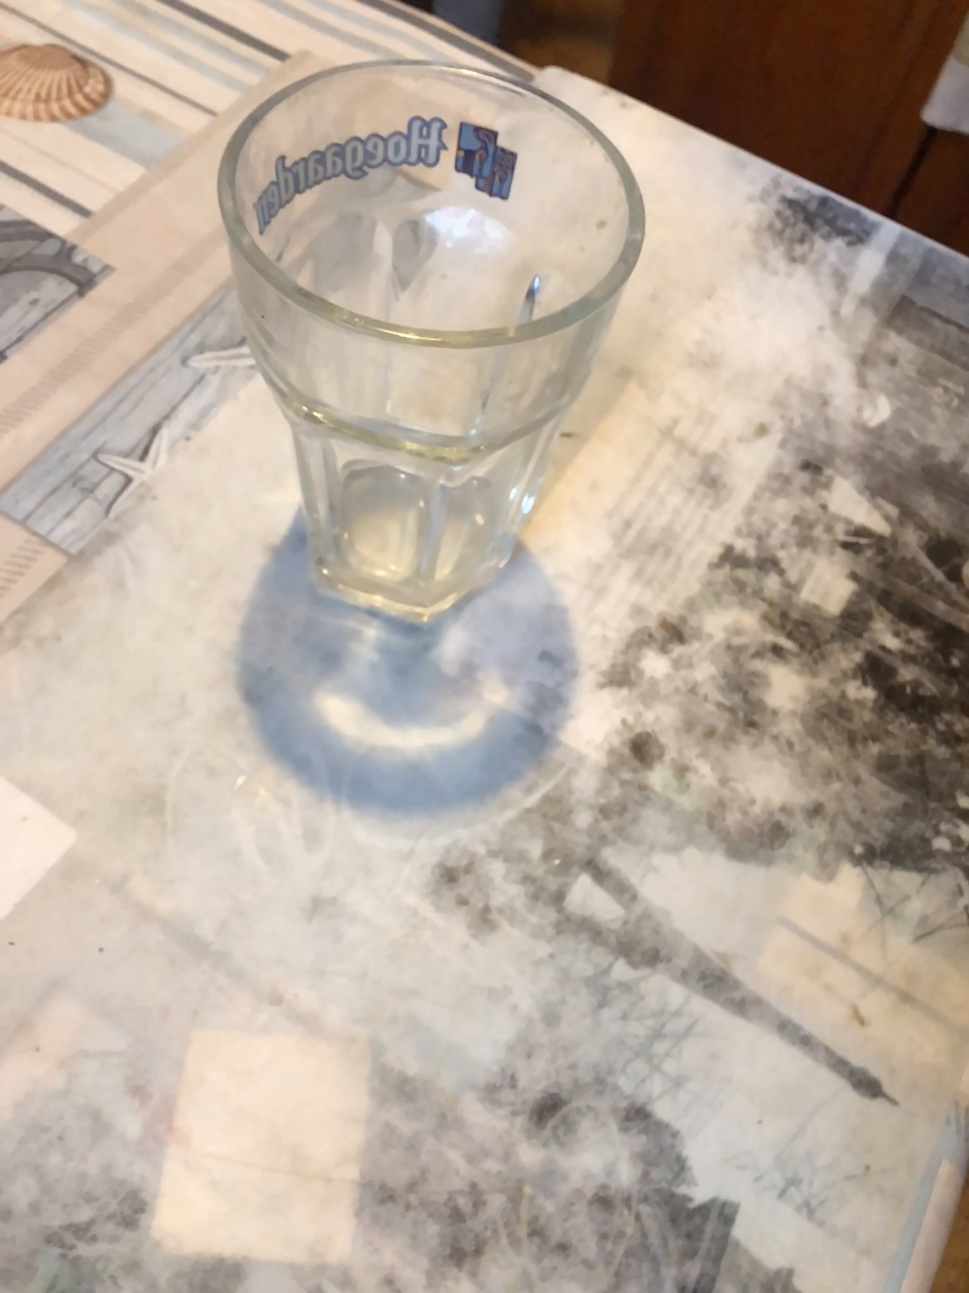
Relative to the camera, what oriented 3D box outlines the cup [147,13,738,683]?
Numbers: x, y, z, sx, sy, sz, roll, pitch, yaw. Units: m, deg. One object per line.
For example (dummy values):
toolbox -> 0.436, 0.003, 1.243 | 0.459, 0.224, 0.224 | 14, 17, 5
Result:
cup -> -0.019, -0.079, 0.299 | 0.099, 0.123, 0.098 | 5, 57, -8
